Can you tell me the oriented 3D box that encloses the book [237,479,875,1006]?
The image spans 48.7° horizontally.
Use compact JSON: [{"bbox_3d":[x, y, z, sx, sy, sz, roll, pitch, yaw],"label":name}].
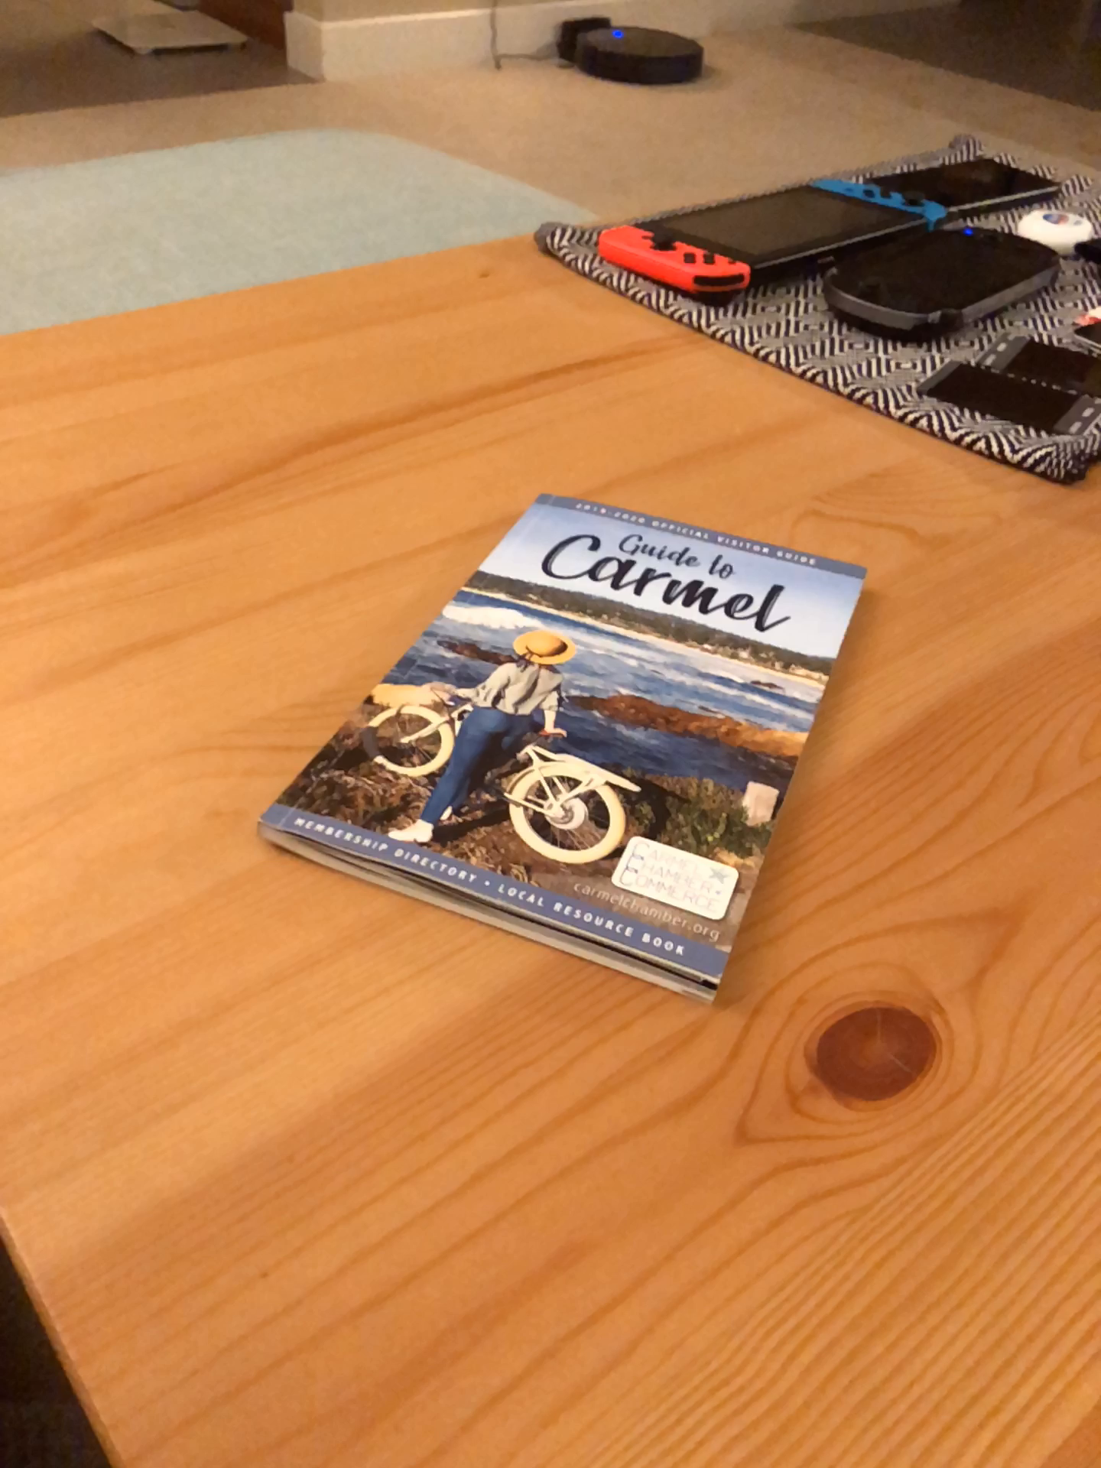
[{"bbox_3d":[0.017,-0.017,0.390,0.137,0.010,0.208,17,42,14],"label":"book"}]
